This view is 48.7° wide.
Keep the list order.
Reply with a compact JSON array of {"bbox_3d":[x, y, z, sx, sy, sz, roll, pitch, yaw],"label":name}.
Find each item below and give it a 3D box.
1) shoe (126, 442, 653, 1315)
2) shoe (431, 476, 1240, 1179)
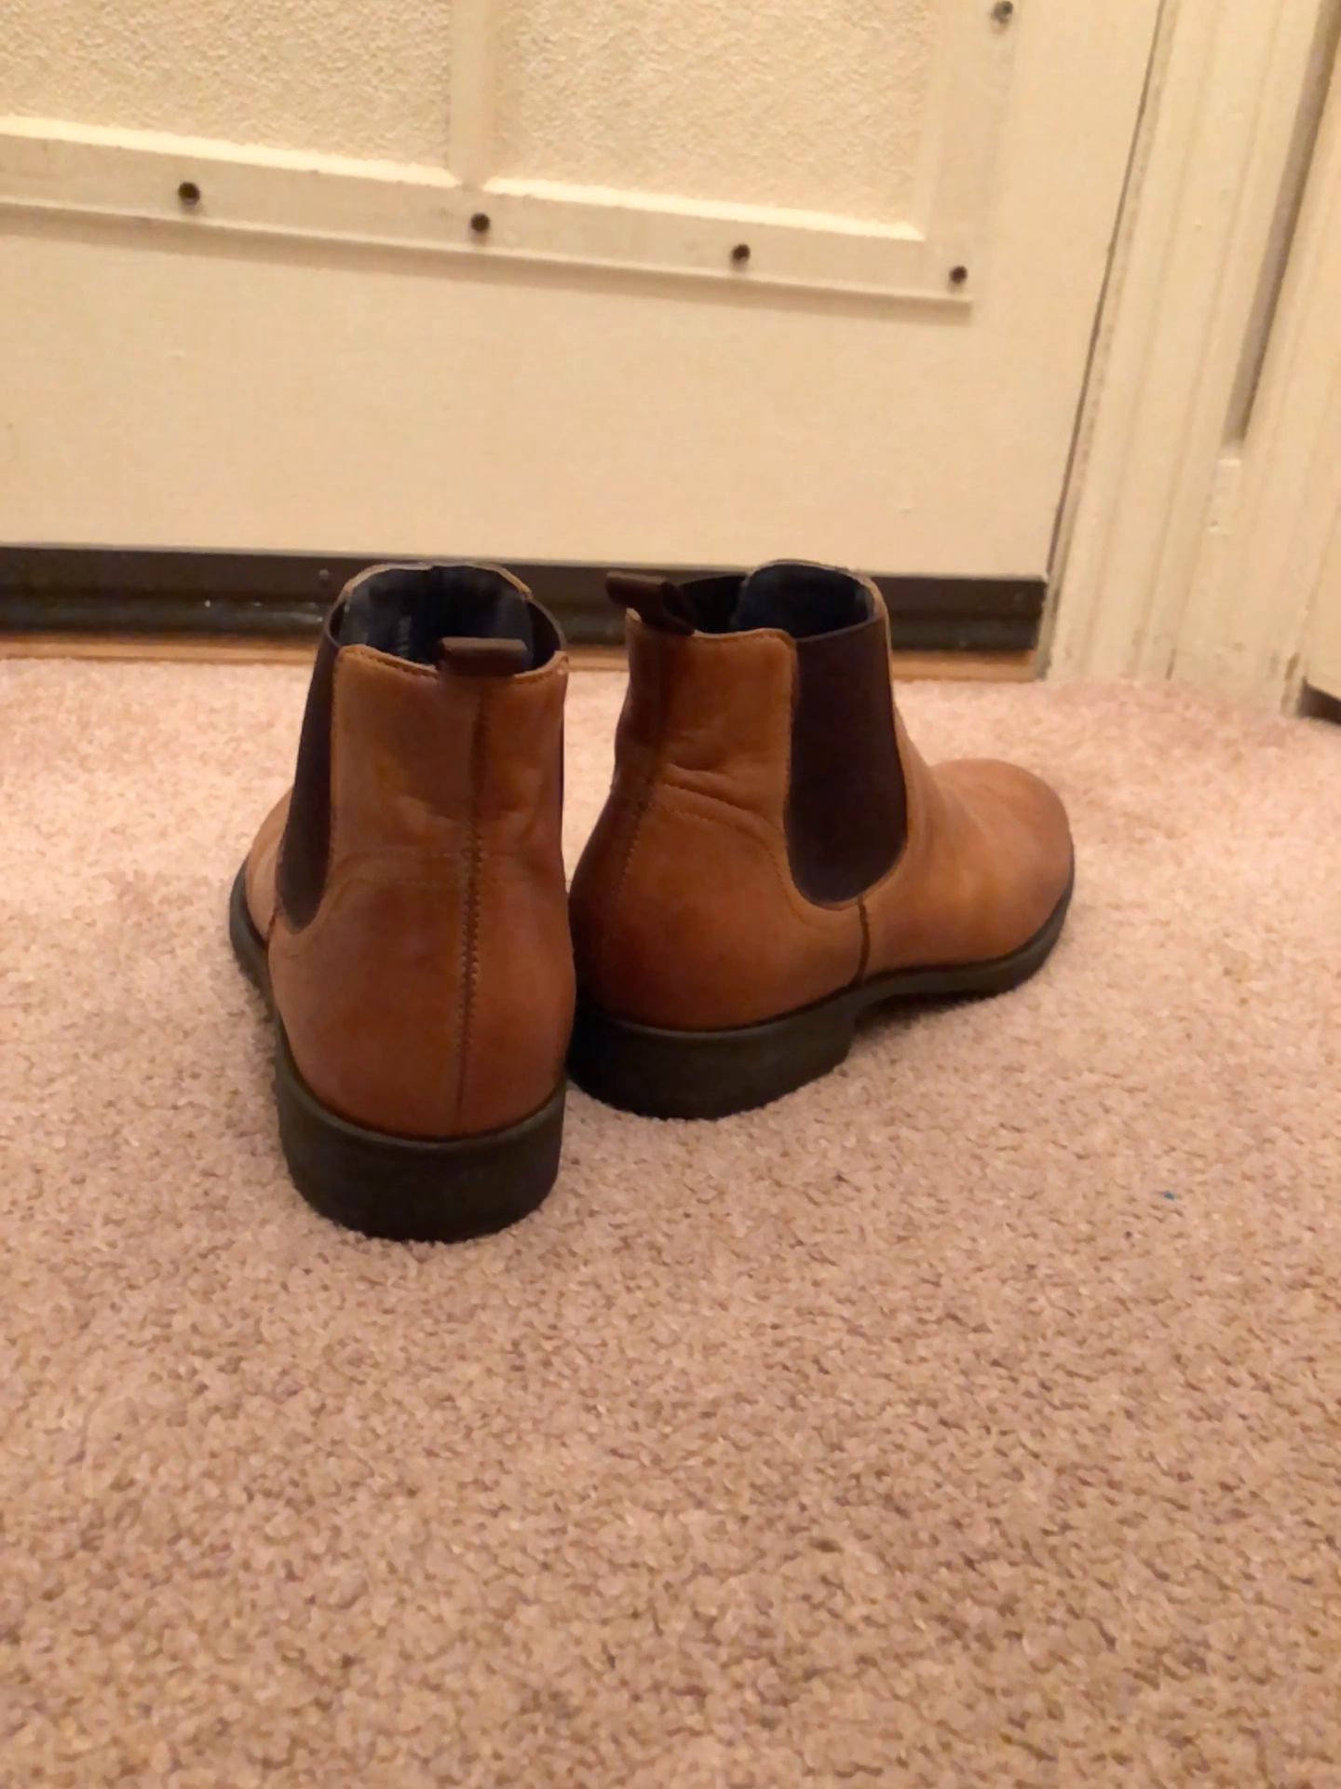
[{"bbox_3d":[-0.098,-0.036,0.483,0.109,0.165,0.313,0,24,-14],"label":"shoe"},{"bbox_3d":[0.073,-0.051,0.533,0.109,0.165,0.313,23,28,35],"label":"shoe"}]
